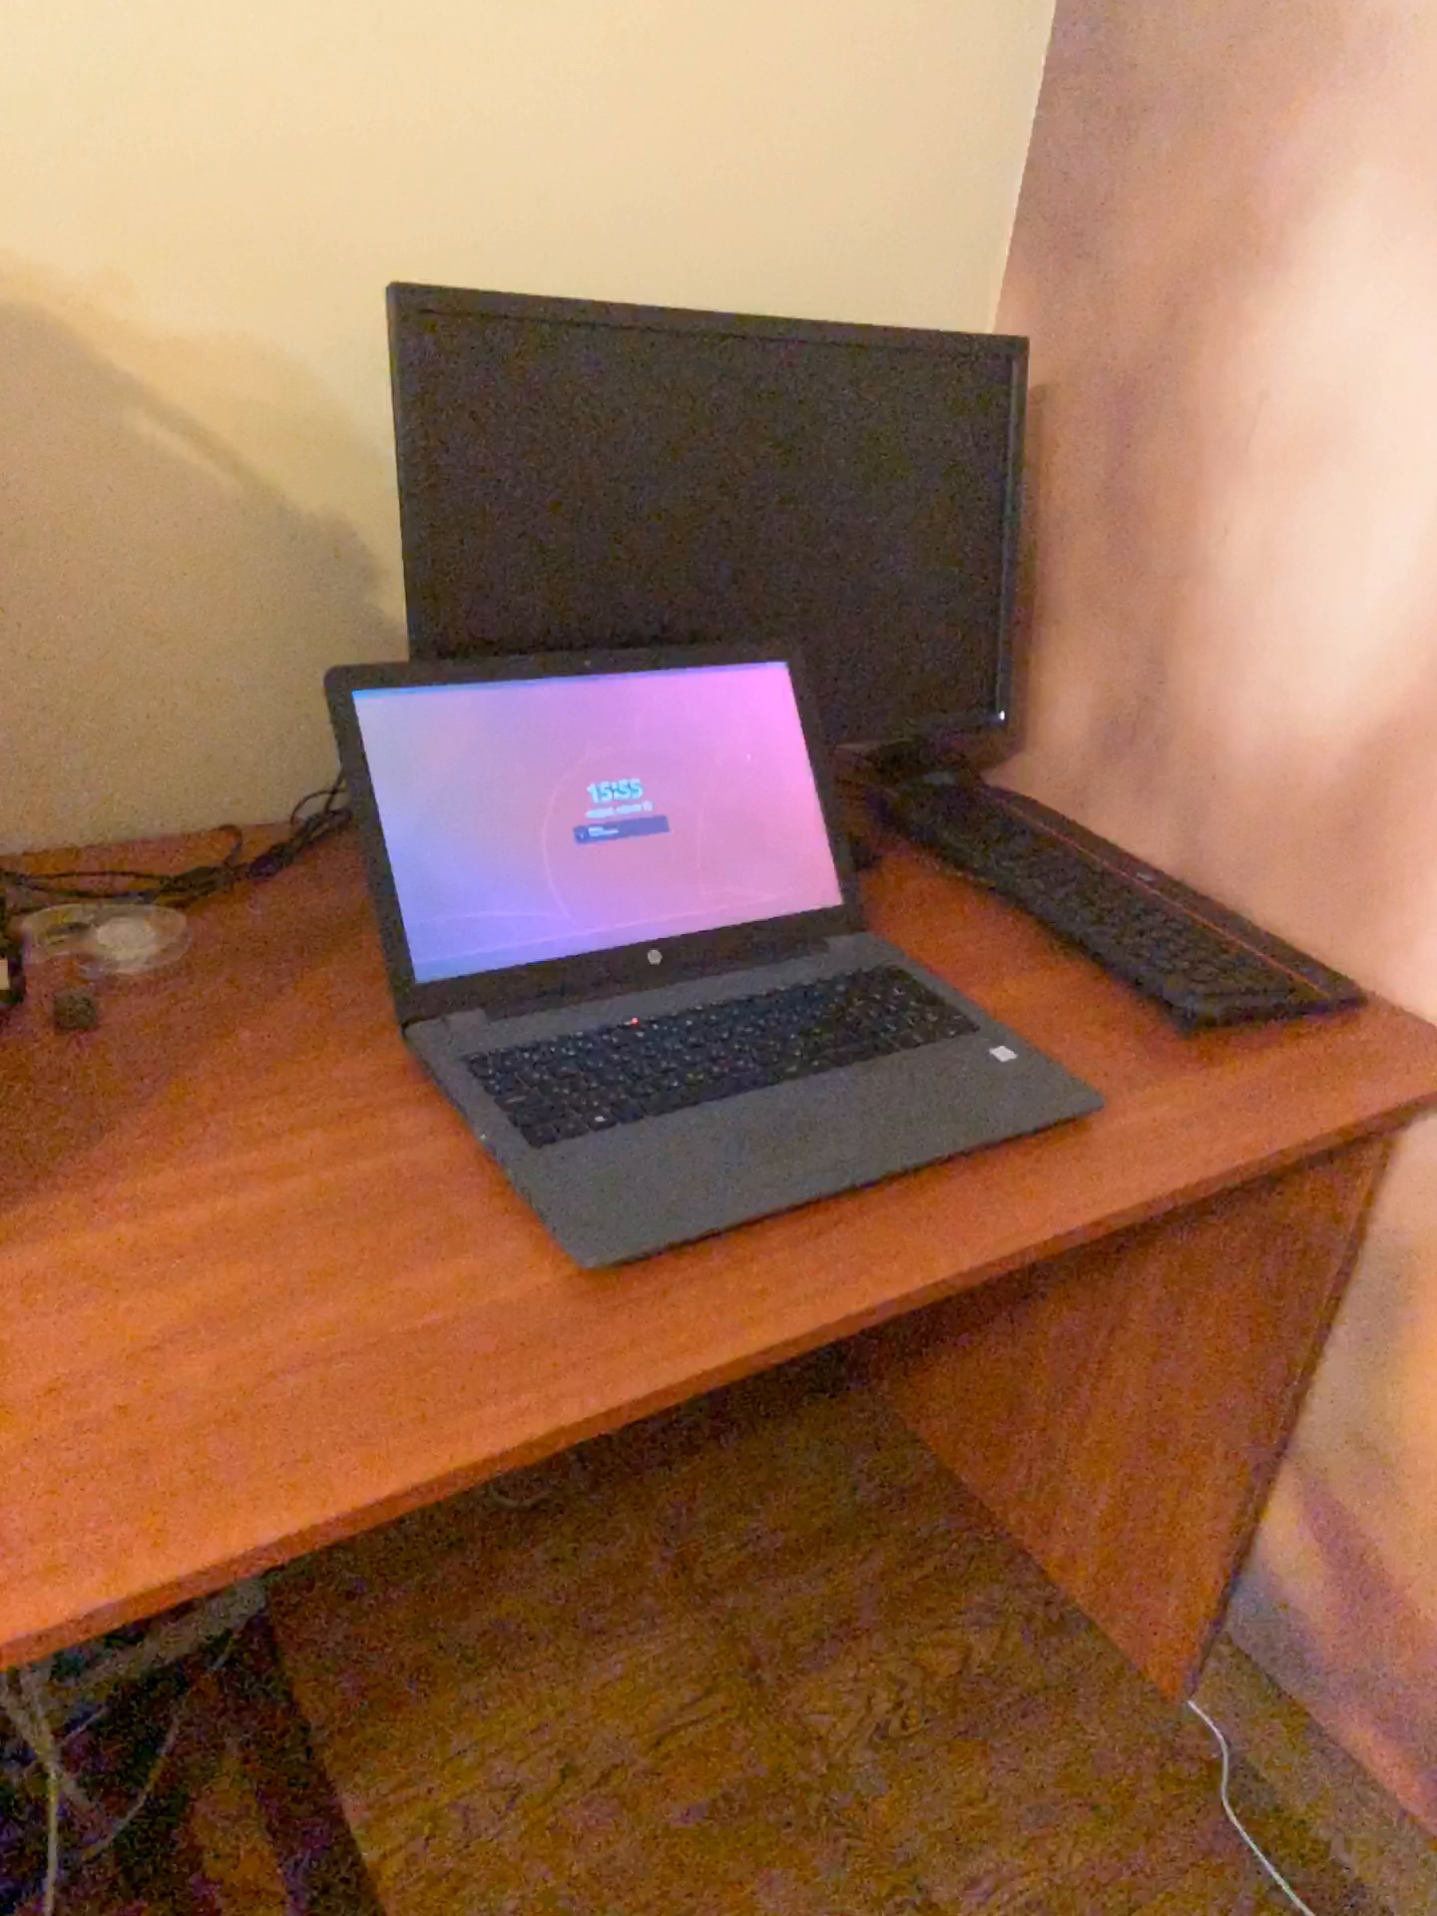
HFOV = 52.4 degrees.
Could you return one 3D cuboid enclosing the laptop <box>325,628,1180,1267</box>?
[{"bbox_3d":[0.000,-0.048,0.906,0.366,0.181,0.375,-11,34,-32],"label":"laptop"}]
